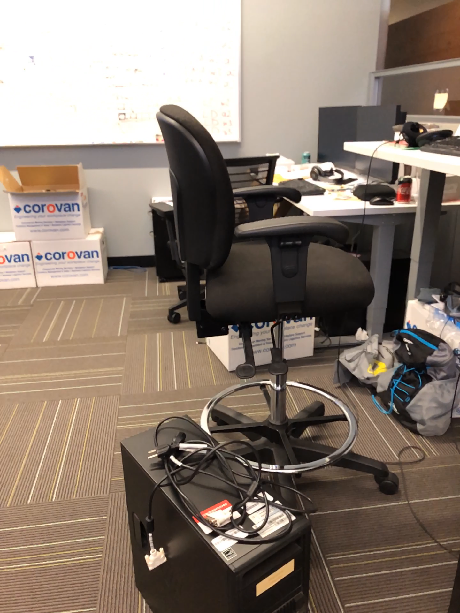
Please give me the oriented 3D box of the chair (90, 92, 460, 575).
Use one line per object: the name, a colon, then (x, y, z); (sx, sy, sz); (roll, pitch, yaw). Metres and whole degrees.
chair: (0.170, -0.038, 1.550); (0.960, 1.105, 0.894); (-4, 21, -8)
